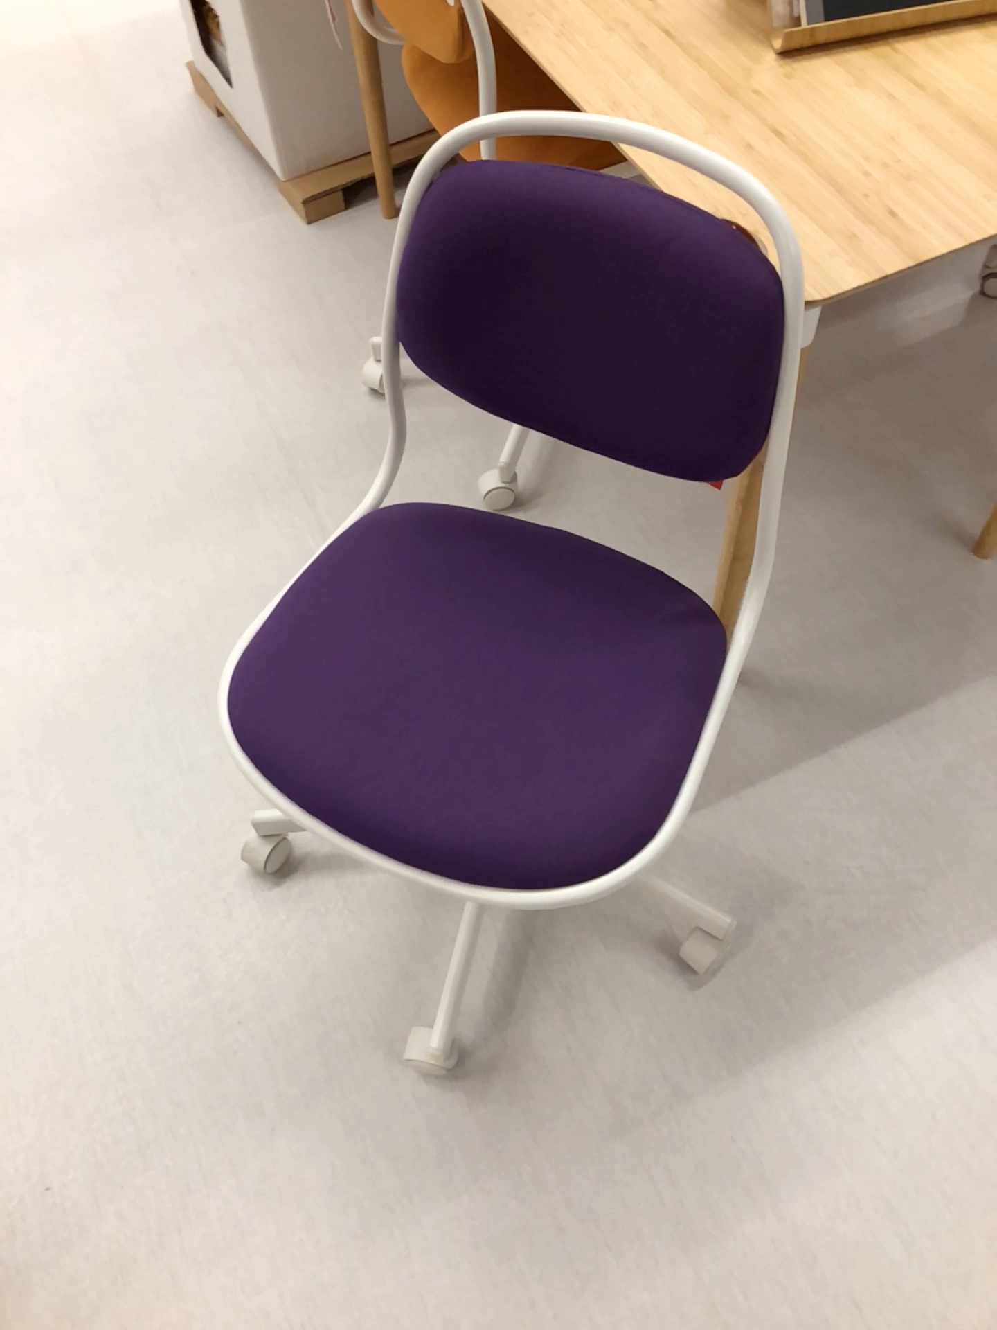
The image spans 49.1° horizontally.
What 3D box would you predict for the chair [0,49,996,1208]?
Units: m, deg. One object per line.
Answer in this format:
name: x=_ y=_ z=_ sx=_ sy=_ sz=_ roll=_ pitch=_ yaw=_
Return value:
chair: x=0.020 y=0.003 z=1.093 sx=0.621 sy=0.776 sz=0.662 roll=23 pitch=61 yaw=17
